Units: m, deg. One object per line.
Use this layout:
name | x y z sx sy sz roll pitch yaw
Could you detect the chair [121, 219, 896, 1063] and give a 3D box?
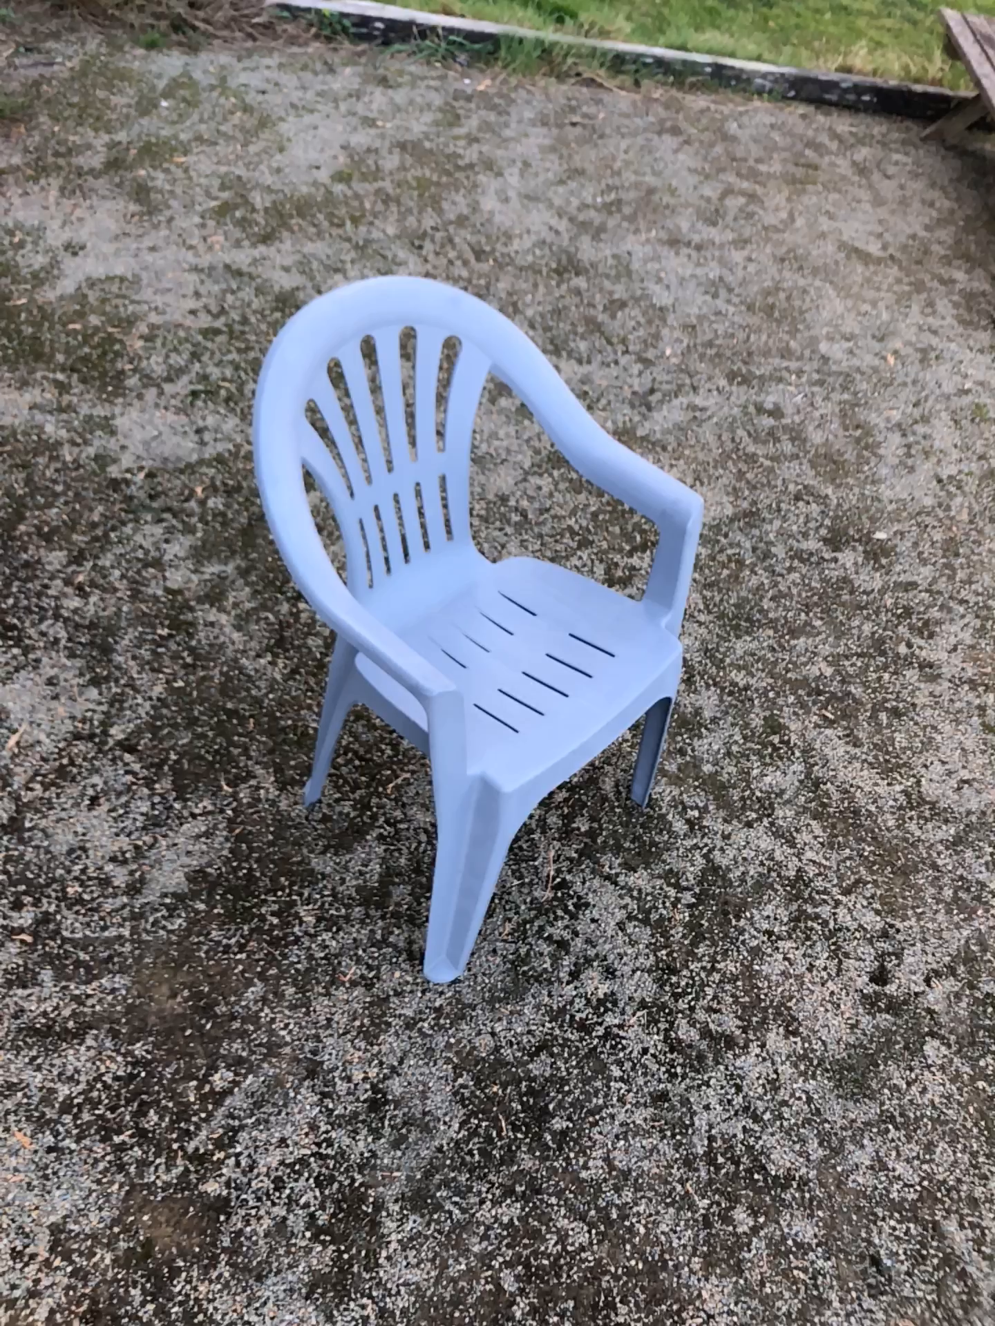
chair | -0.018 -0.039 1.519 0.633 0.775 0.620 -33 60 -33
